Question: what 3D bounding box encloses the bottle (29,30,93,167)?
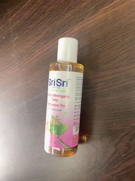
[{"bbox_3d":[-0.007,0.007,0.162,0.050,0.040,0.130,6,92,27],"label":"bottle"}]
